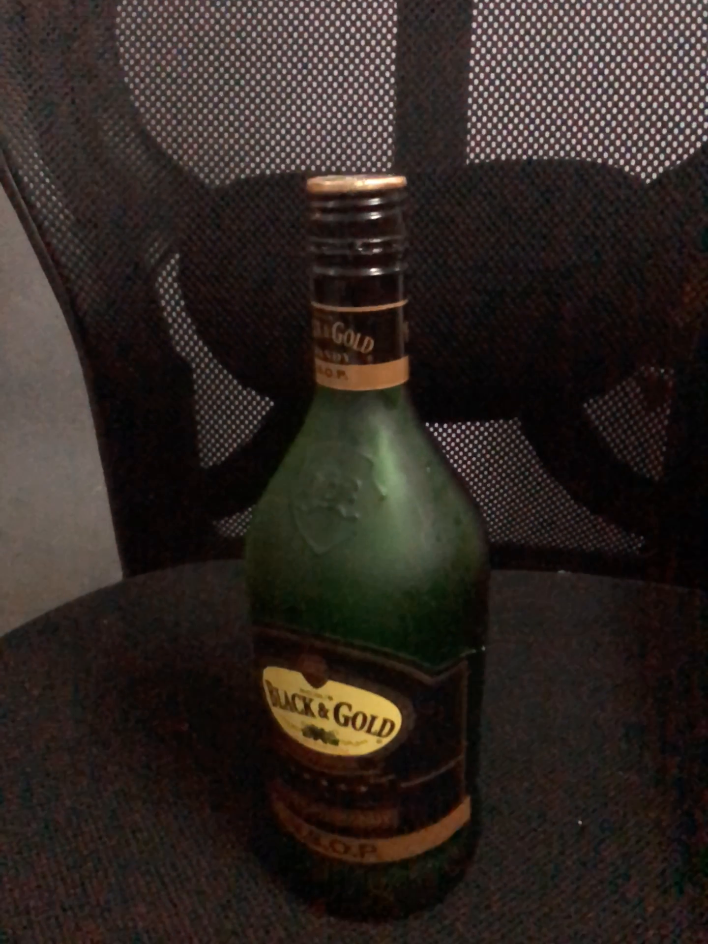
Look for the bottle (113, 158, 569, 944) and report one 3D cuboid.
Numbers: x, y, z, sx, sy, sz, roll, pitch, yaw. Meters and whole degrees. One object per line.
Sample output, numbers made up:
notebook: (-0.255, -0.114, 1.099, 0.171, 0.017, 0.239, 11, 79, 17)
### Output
bottle: (-0.001, 0.034, 0.286, 0.110, 0.269, 0.080, 11, 27, 23)
